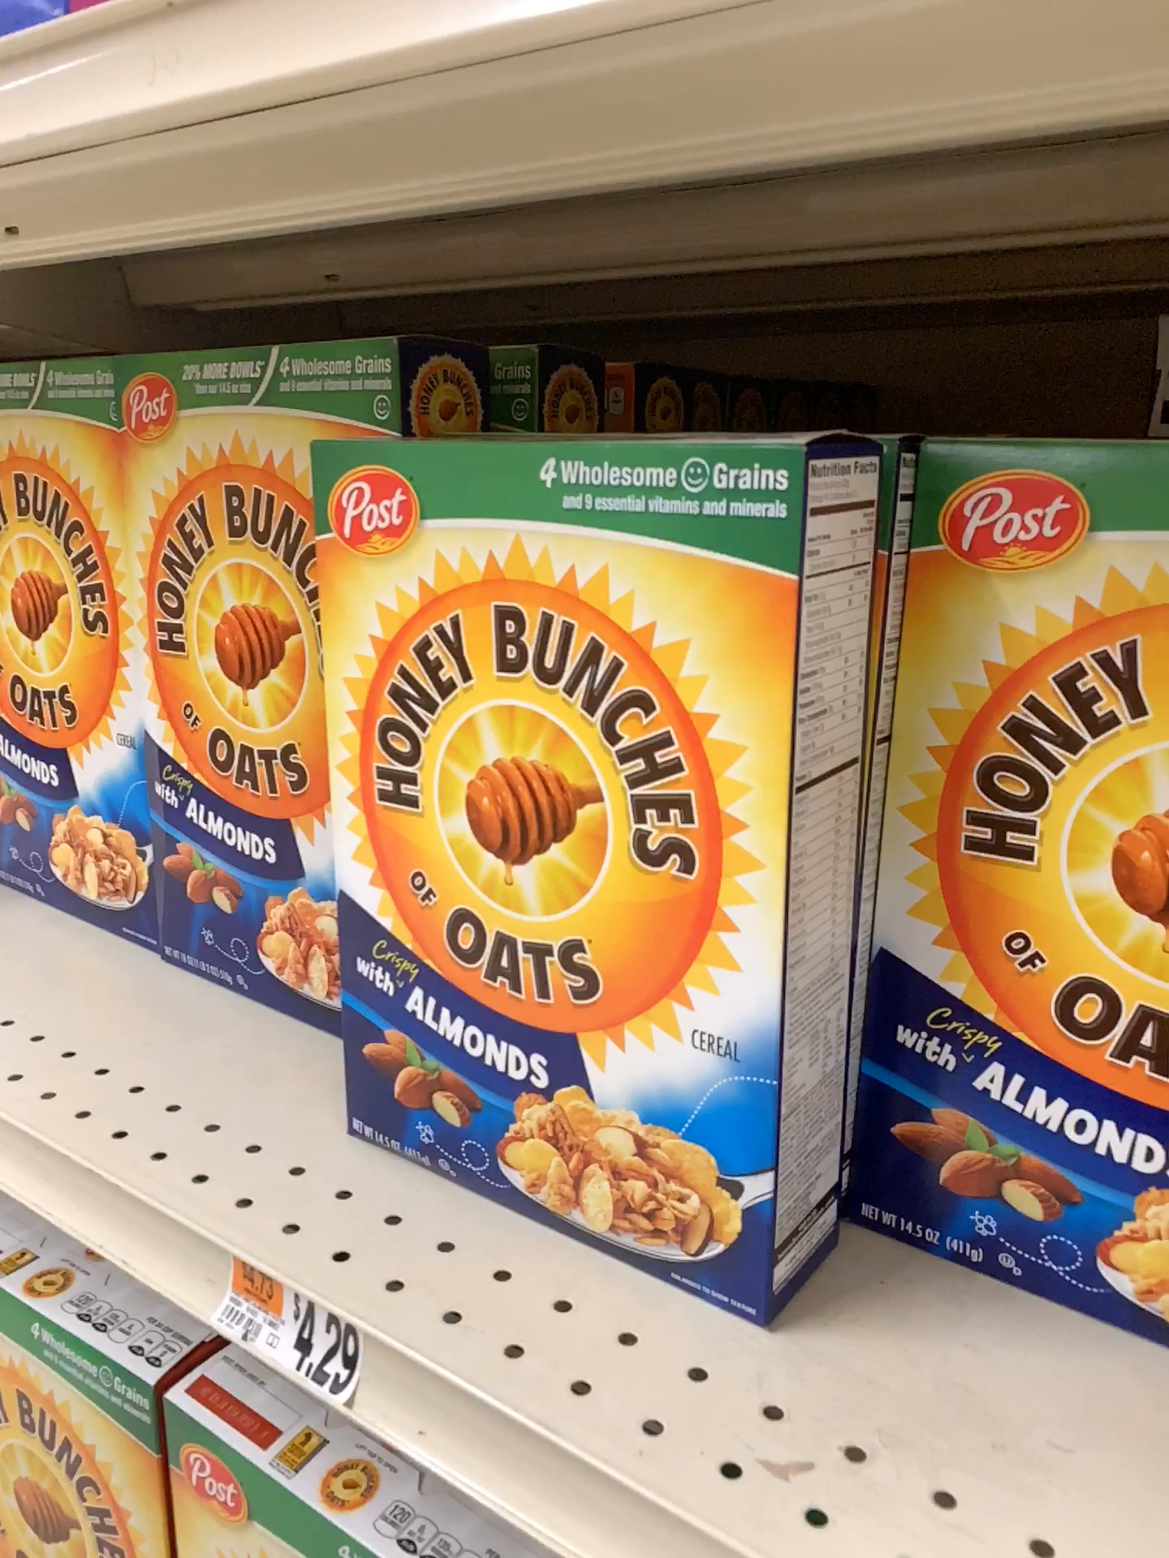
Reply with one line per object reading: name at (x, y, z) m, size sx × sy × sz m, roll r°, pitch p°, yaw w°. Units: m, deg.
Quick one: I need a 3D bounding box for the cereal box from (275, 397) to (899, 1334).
cereal box at (-0.007, 0.016, 0.415) m, size 0.200 × 0.279 × 0.060 m, roll 11°, pitch 20°, yaw 35°
